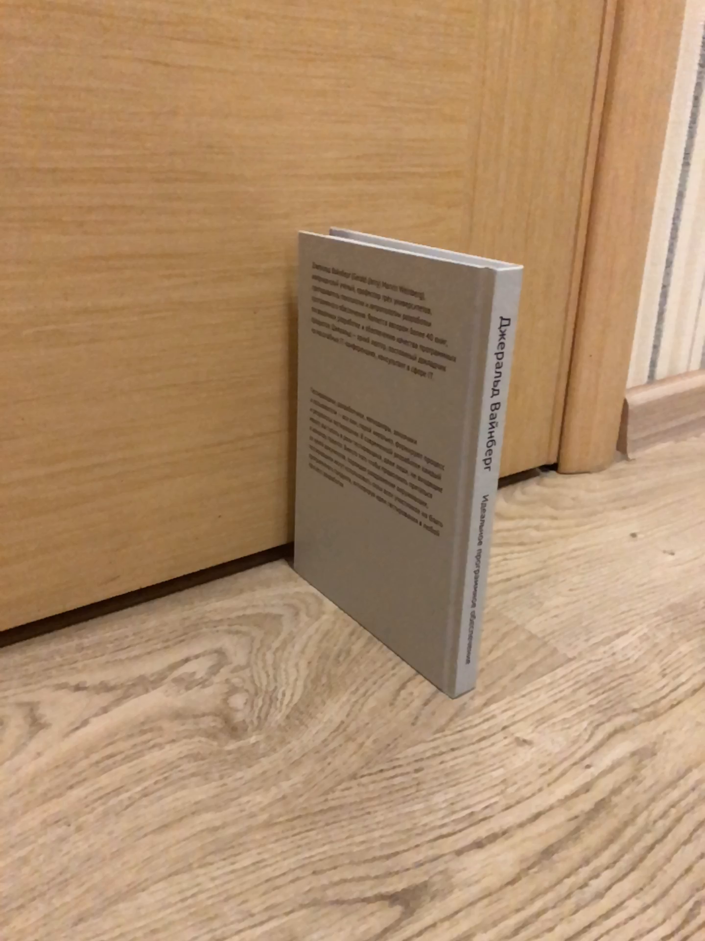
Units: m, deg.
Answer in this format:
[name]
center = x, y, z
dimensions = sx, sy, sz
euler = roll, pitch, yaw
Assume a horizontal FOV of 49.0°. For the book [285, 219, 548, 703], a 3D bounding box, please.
[book]
center = 0.018, -0.014, 0.401
dimensions = 0.023, 0.209, 0.163
euler = -13, 26, -34
